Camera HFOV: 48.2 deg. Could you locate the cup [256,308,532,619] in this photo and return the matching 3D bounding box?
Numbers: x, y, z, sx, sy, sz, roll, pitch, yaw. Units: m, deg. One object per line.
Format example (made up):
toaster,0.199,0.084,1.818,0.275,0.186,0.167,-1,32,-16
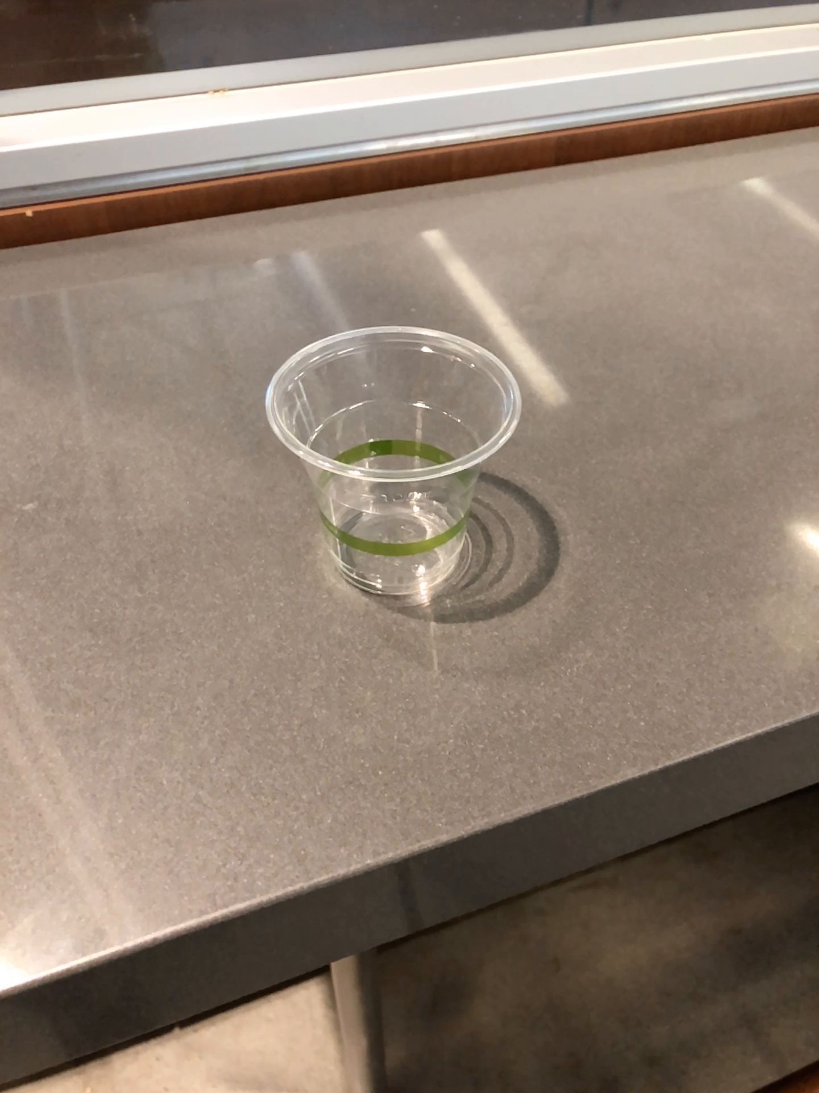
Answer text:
cup,-0.001,-0.027,0.280,0.070,0.060,0.070,0,43,0
